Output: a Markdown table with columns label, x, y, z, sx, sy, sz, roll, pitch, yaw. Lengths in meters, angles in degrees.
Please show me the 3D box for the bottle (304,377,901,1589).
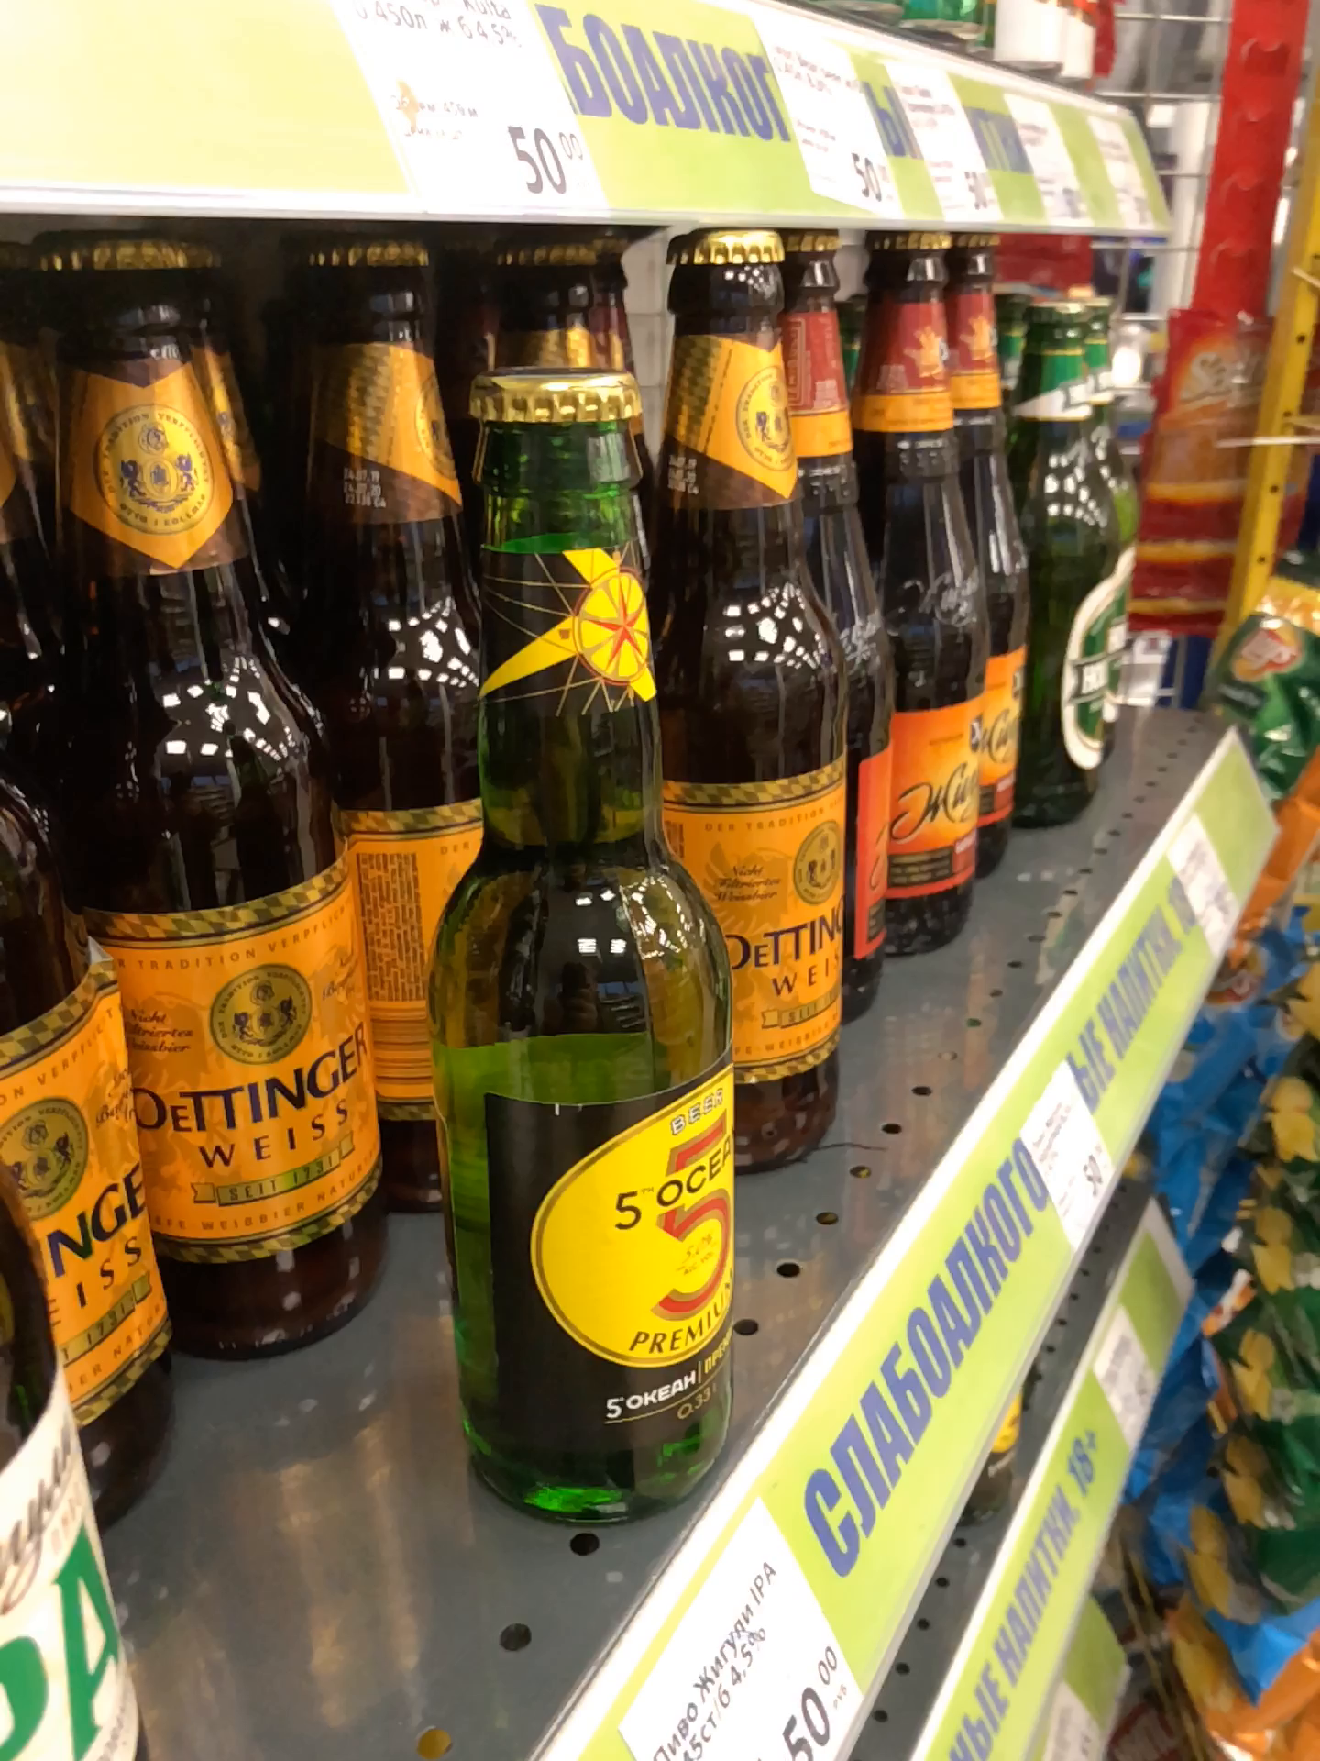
| label | x | y | z | sx | sy | sz | roll | pitch | yaw |
| --- | --- | --- | --- | --- | --- | --- | --- | --- | --- |
| bottle | -0.008 | 0.018 | 0.282 | 0.070 | 0.210 | 0.070 | 0 | 23 | 0 |
